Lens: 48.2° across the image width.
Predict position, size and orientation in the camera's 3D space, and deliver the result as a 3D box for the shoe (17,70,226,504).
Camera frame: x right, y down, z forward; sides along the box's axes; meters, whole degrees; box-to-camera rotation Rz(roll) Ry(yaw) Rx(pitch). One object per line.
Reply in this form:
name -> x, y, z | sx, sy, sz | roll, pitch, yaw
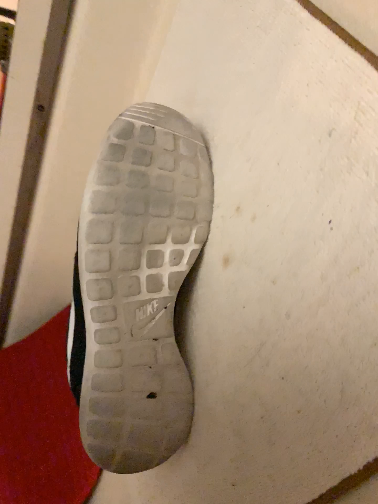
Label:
shoe -> -0.071, 0.025, 0.363 | 0.180, 0.100, 0.270 | -1, 82, 64
